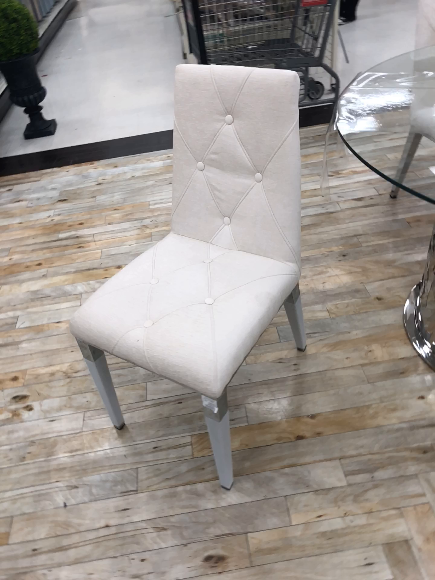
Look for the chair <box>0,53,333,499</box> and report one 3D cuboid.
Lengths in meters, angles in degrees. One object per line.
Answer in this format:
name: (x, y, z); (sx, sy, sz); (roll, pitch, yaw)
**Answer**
chair: (-0.058, -0.036, 1.228); (0.471, 0.886, 0.571); (20, 48, 30)
